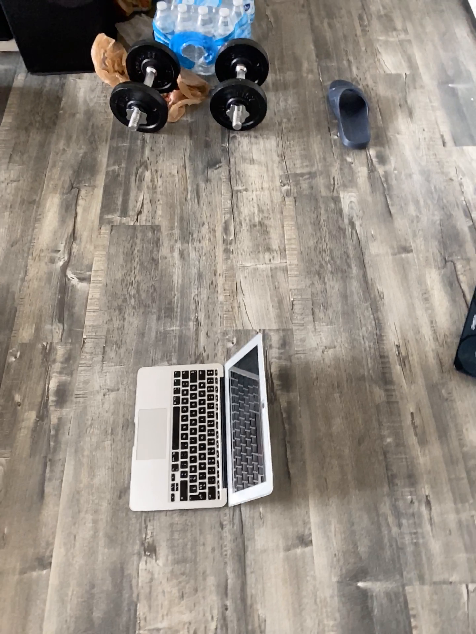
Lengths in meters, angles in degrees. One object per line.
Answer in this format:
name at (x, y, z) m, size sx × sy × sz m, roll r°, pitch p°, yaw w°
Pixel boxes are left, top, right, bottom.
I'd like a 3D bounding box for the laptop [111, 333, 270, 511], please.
laptop at (-0.083, 0.198, 0.918) m, size 0.254 × 0.159 × 0.290 m, roll -1°, pitch 62°, yaw -4°
